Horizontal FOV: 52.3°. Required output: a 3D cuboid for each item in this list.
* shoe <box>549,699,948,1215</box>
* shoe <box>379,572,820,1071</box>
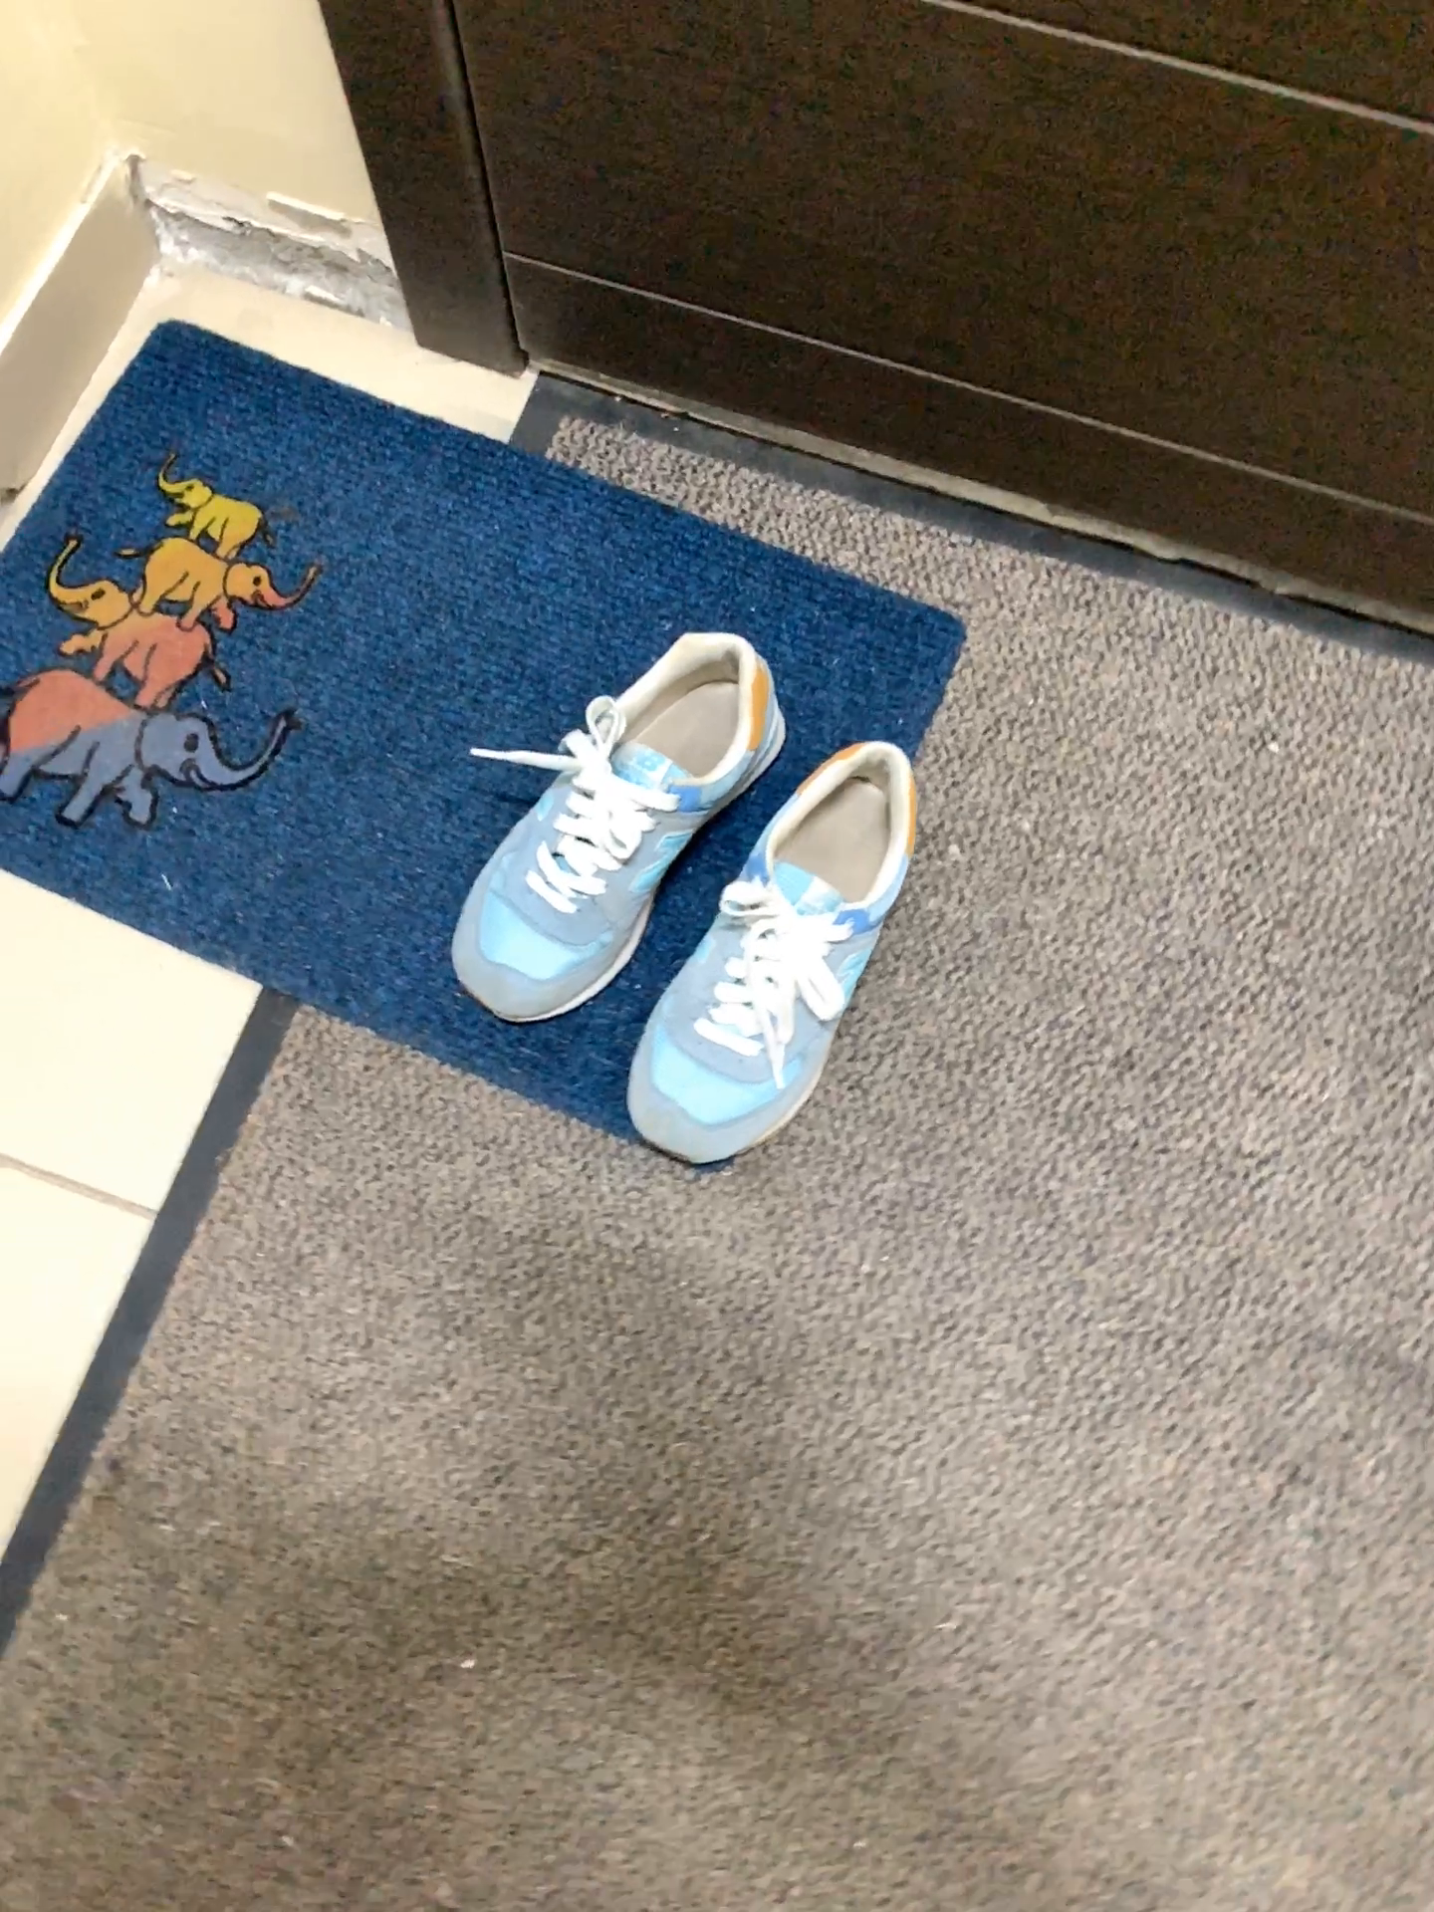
[{"bbox_3d":[0.022,0.003,0.809,0.090,0.120,0.250,29,75,12],"label":"shoe"},{"bbox_3d":[-0.062,-0.071,0.828,0.080,0.140,0.260,39,76,6],"label":"shoe"}]
